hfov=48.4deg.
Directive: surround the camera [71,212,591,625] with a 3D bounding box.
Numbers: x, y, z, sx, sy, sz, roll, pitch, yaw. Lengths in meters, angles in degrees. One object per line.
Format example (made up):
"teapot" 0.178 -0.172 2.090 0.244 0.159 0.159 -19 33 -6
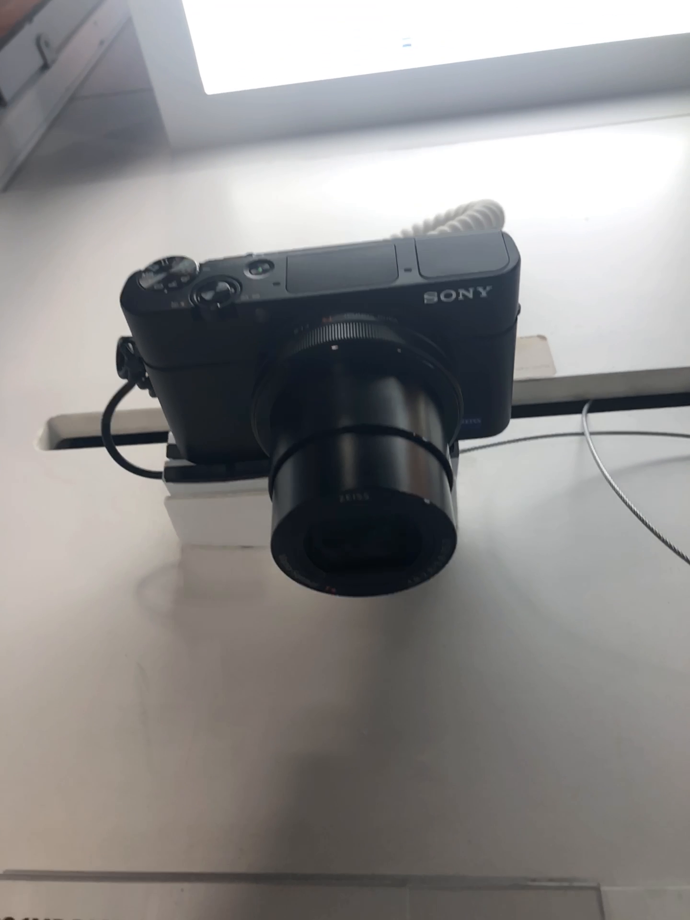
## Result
"camera" 0.001 -0.009 0.203 0.105 0.074 0.070 -4 45 7
